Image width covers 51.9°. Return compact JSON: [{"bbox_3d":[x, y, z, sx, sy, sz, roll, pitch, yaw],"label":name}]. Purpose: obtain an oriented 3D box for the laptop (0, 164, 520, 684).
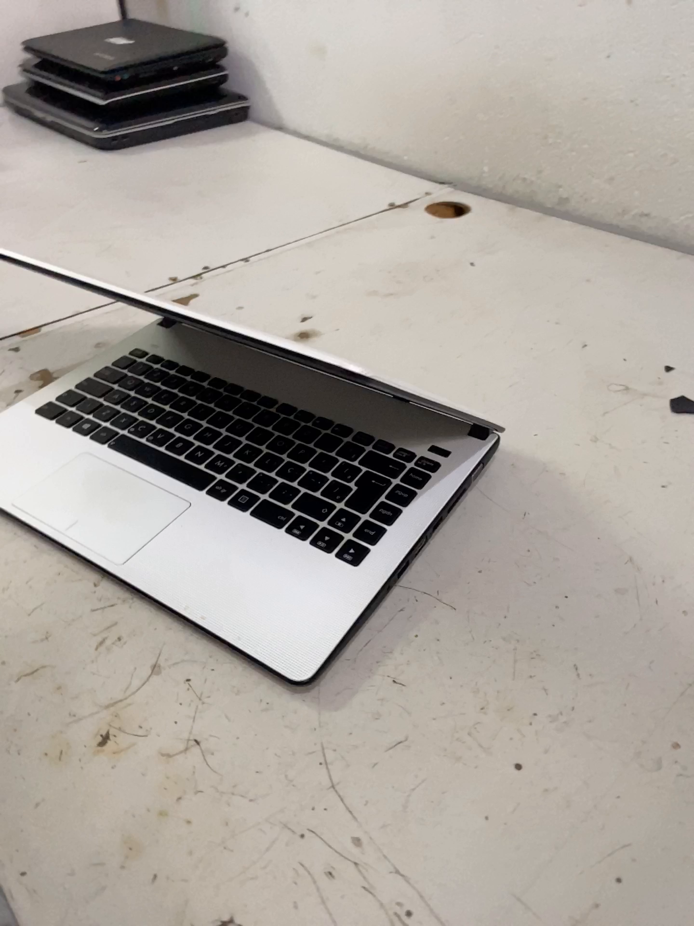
[{"bbox_3d":[-0.104,-0.064,0.473,0.343,0.141,0.237,21,46,27],"label":"laptop"}]
